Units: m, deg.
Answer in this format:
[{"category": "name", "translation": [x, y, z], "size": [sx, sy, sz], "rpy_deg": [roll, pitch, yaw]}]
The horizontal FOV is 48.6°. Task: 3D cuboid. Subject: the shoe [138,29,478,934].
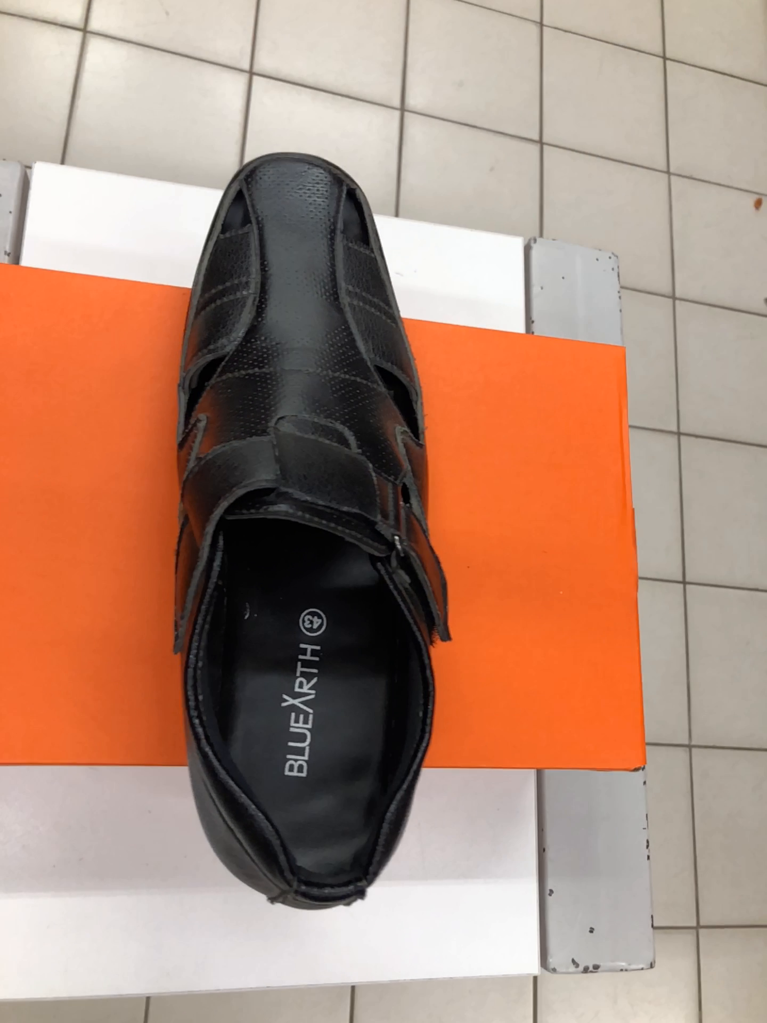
[{"category": "shoe", "translation": [-0.031, -0.014, 0.331], "size": [0.100, 0.100, 0.300], "rpy_deg": [5, 75, -15]}]
